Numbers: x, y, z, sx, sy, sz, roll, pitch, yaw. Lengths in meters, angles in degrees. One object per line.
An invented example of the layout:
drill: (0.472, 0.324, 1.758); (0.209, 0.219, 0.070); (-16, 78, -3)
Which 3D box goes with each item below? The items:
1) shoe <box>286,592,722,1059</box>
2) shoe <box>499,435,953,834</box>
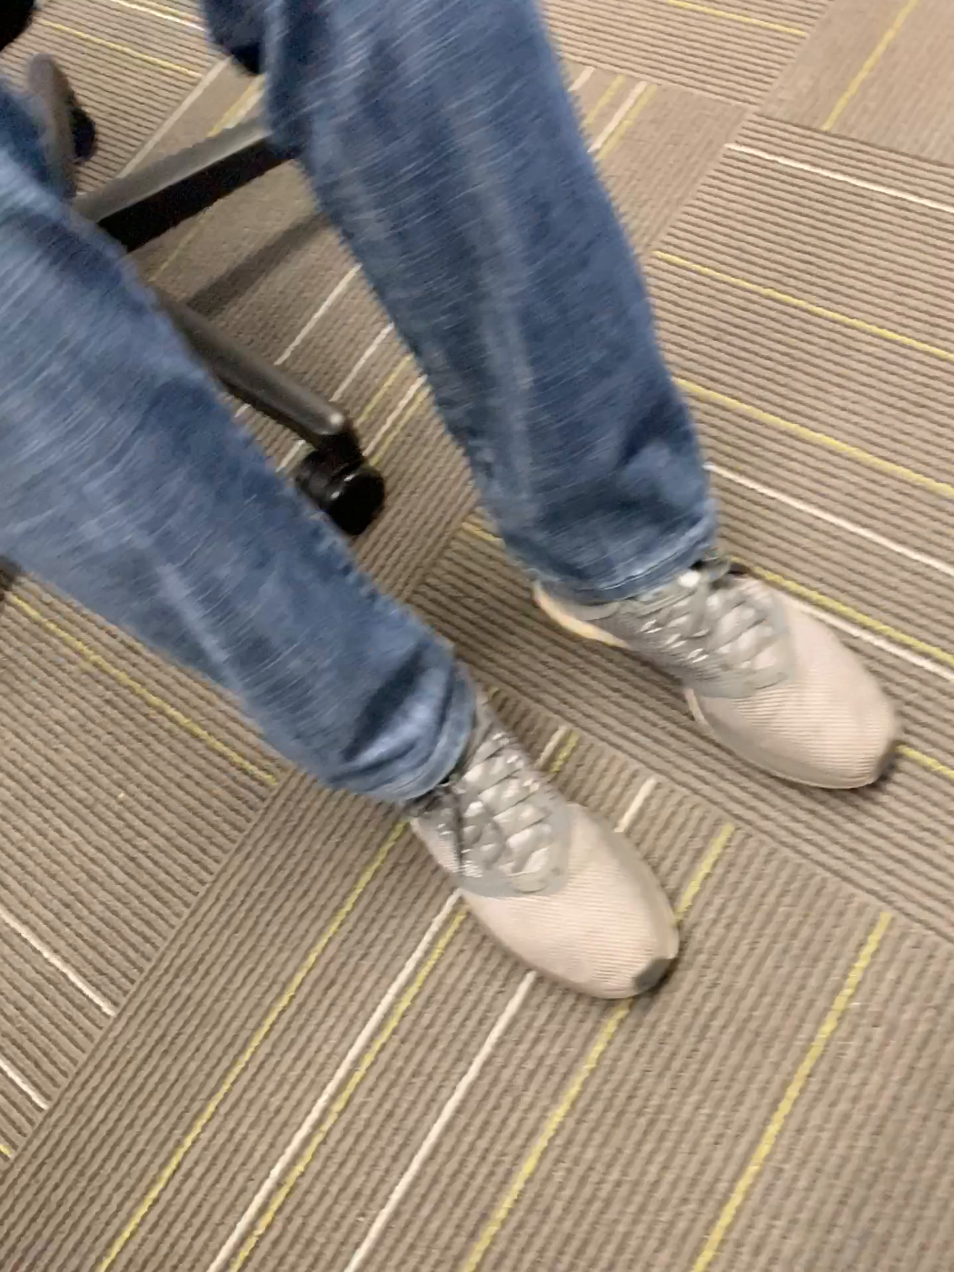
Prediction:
shoe: (0.013, 0.120, 0.657); (0.132, 0.078, 0.284); (-40, 64, -6)
shoe: (0.168, -0.008, 0.687); (0.287, 0.078, 0.124); (38, 80, 25)
